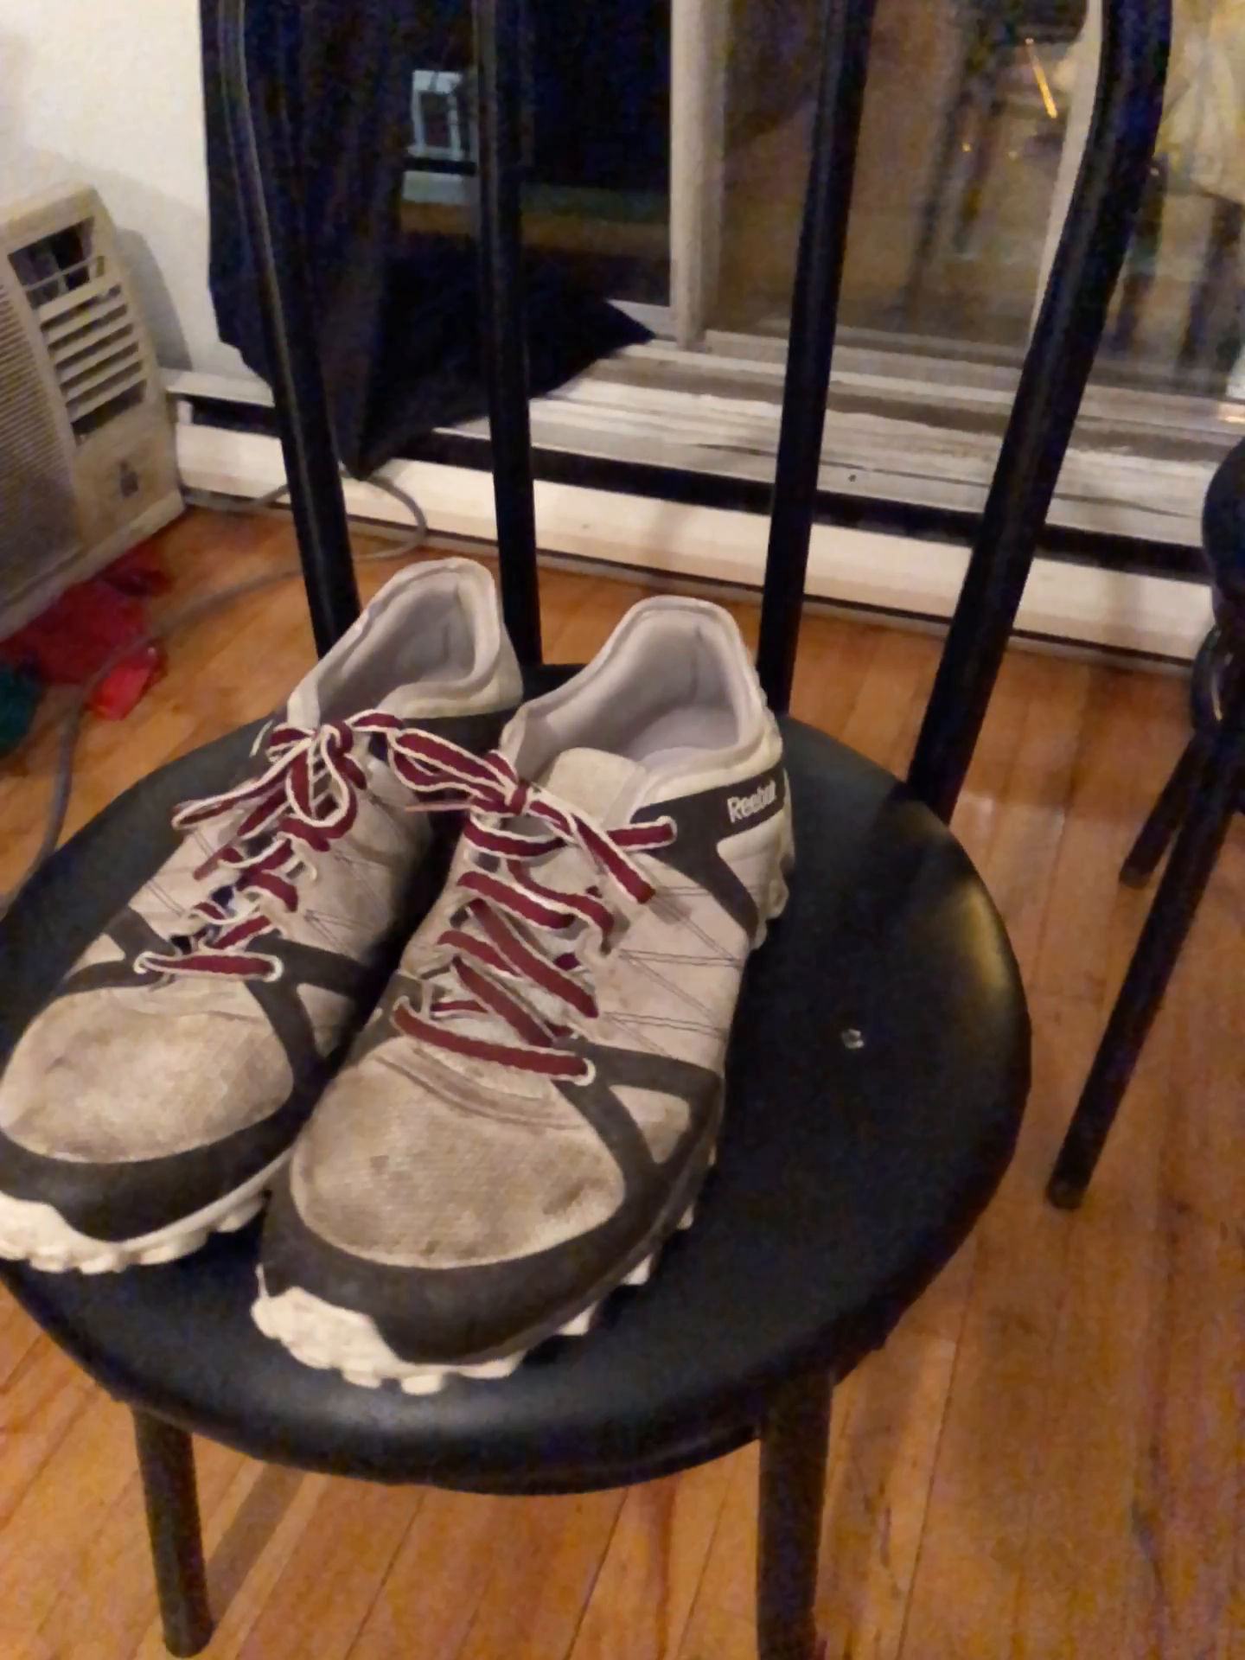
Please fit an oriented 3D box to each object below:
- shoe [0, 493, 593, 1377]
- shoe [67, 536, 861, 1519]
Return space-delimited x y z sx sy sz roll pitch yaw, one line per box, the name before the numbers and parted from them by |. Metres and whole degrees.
shoe | -0.114 0.006 0.469 0.100 0.099 0.312 13 42 16
shoe | -0.020 0.030 0.447 0.120 0.099 0.312 13 42 16
